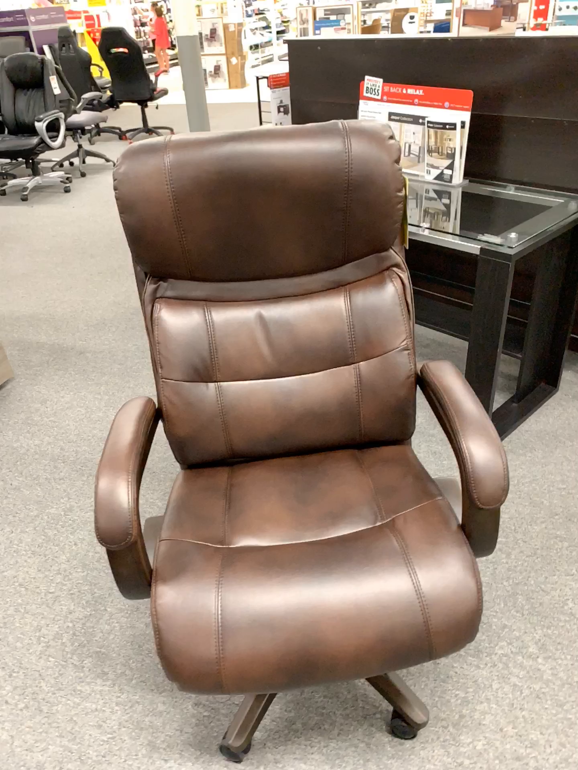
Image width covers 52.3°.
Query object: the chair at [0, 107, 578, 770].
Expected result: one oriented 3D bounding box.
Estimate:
[{"bbox_3d":[0.011,0.128,1.162,0.710,1.094,0.704,-6,33,-4],"label":"chair"}]
